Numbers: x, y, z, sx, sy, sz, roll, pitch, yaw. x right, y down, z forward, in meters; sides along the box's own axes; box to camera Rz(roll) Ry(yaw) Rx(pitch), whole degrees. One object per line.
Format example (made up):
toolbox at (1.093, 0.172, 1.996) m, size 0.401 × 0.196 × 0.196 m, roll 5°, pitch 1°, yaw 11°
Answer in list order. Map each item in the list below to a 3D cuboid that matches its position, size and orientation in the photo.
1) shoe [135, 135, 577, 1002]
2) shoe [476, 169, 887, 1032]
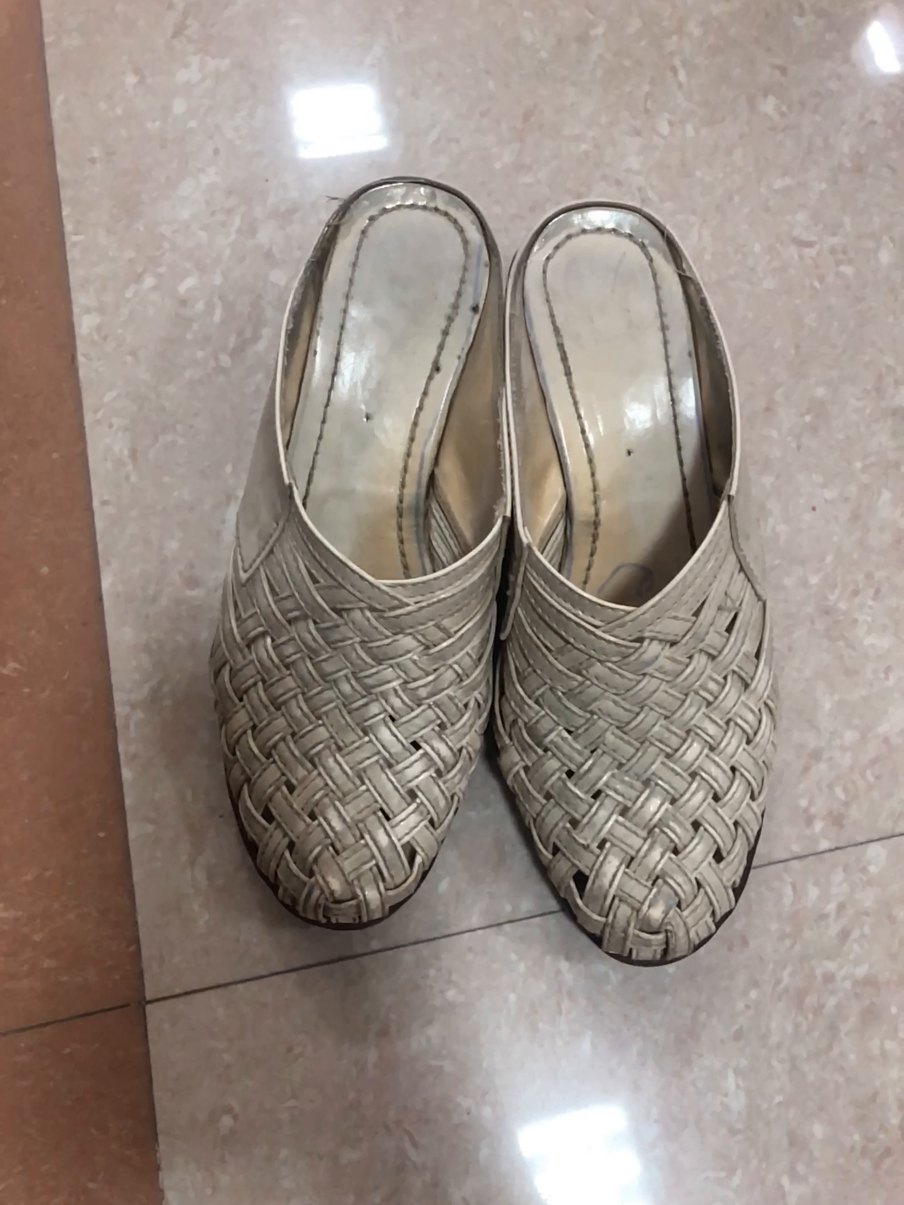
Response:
shoe at (-0.019, -0.013, 0.315) m, size 0.090 × 0.080 × 0.240 m, roll 6°, pitch 75°, yaw 3°
shoe at (0.059, -0.003, 0.314) m, size 0.090 × 0.080 × 0.240 m, roll -3°, pitch 75°, yaw 3°
